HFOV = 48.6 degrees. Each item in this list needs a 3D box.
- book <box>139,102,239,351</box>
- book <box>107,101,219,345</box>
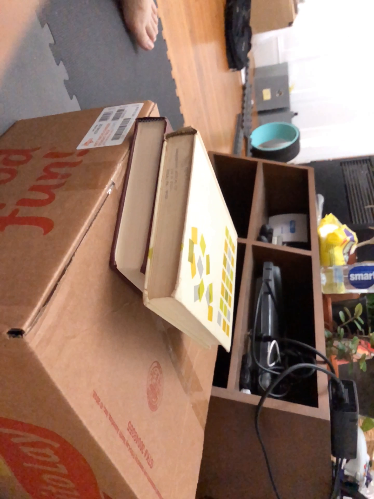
[{"bbox_3d":[0.020,-0.001,0.455,0.250,0.040,0.180,57,34,-63],"label":"book"},{"bbox_3d":[-0.008,-0.008,0.476,0.250,0.040,0.180,61,31,-61],"label":"book"}]
